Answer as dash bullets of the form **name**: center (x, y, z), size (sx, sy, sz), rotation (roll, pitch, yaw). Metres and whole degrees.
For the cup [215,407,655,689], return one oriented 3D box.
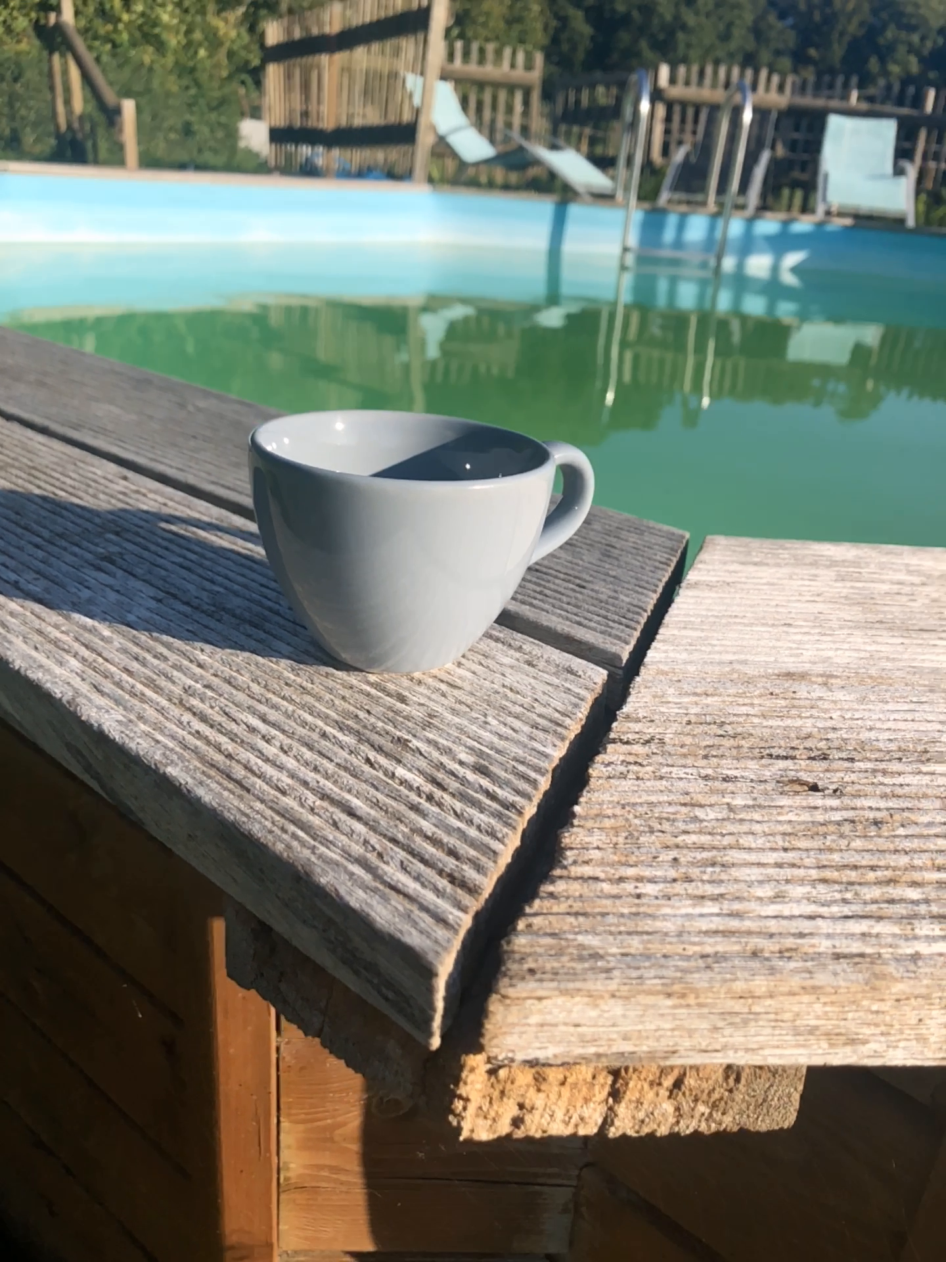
- **cup**: center (-0.017, -0.031, 0.311), size (0.105, 0.052, 0.091), rotation (-4, 25, -19)
